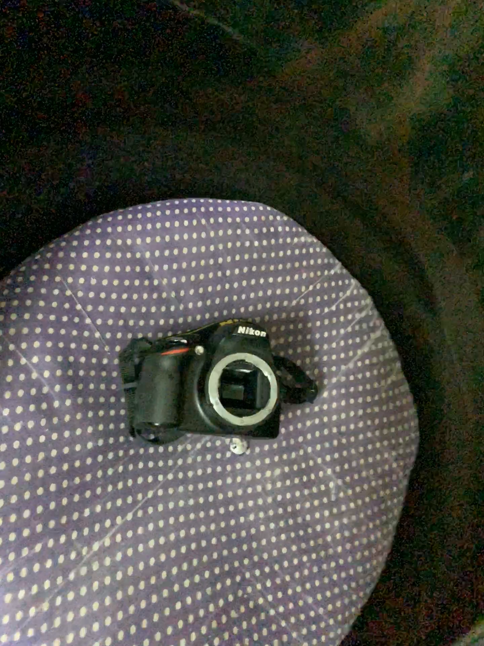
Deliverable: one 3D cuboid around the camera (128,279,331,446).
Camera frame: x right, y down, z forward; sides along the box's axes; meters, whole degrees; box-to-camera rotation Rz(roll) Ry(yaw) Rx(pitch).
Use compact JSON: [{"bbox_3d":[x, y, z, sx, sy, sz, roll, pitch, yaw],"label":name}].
[{"bbox_3d":[-0.010,0.039,0.401,0.140,0.080,0.110,8,76,-20],"label":"camera"}]
